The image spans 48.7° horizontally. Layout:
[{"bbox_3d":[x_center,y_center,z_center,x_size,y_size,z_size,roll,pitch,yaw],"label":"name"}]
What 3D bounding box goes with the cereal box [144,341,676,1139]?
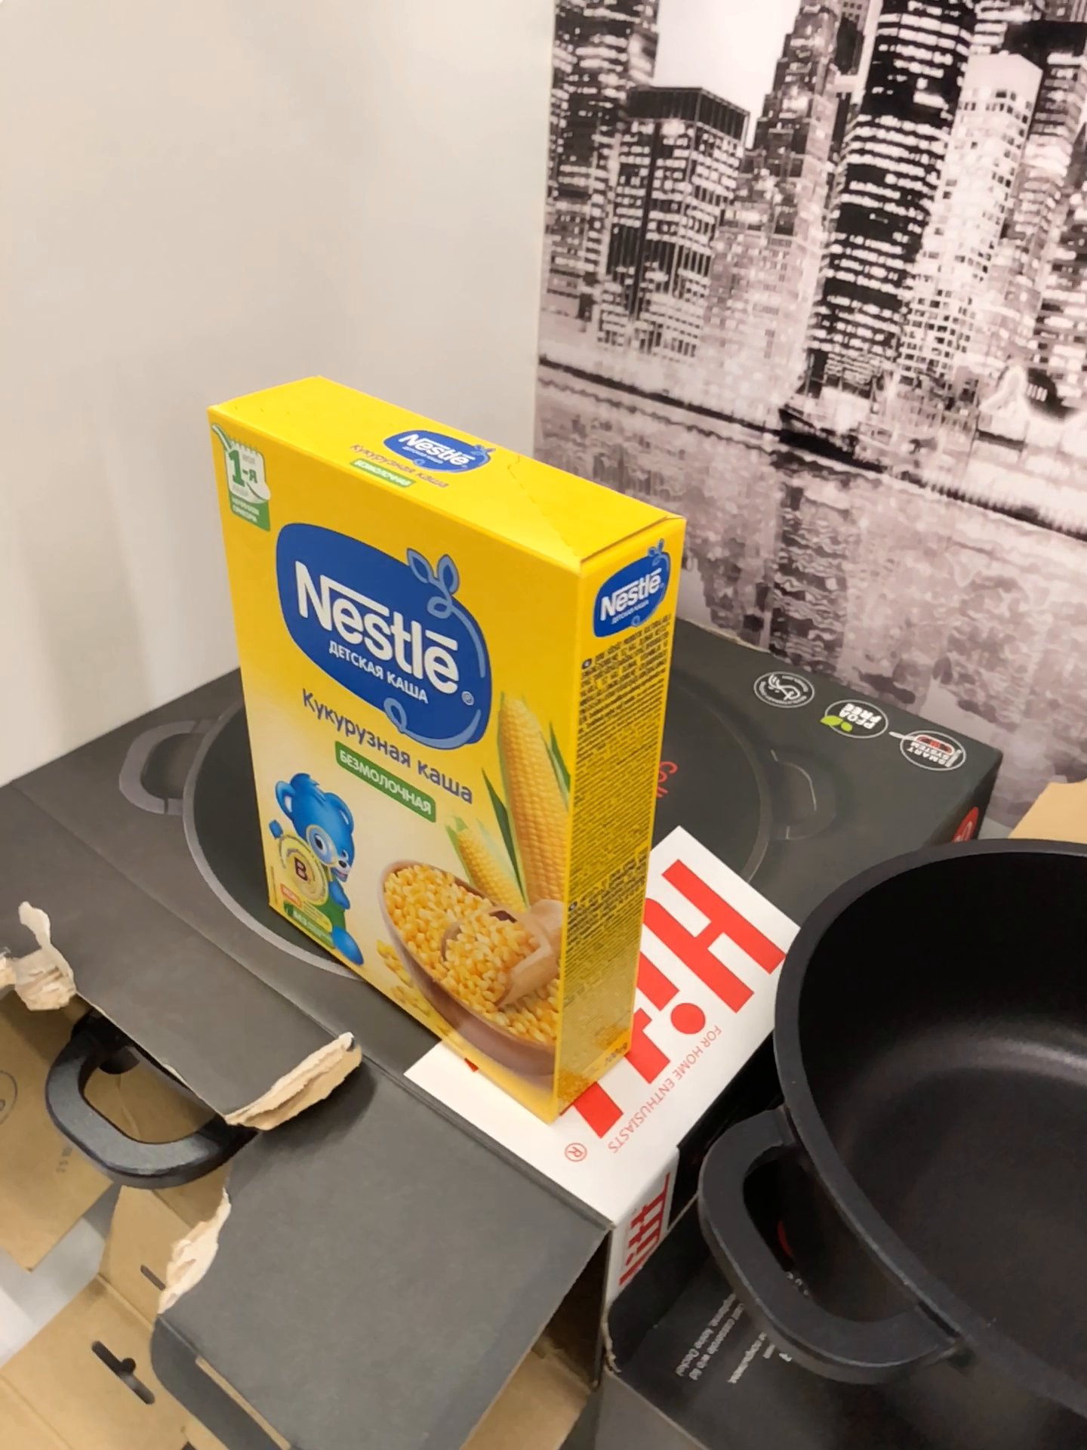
[{"bbox_3d":[-0.044,0.004,0.369,0.150,0.199,0.050,28,41,33],"label":"cereal box"}]
